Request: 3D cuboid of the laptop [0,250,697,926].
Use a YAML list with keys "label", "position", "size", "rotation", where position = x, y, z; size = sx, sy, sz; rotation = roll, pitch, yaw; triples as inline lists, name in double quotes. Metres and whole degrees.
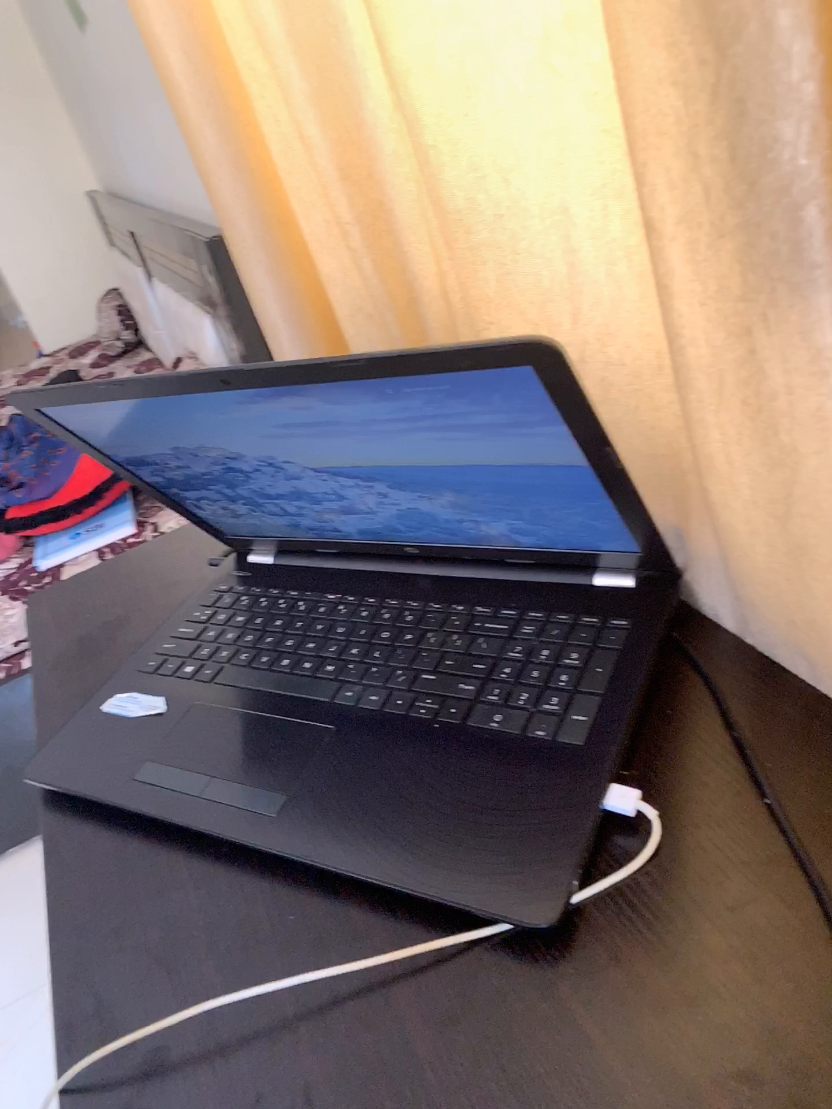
- label: "laptop"
  position: [-0.058, -0.003, 0.495]
  size: [0.363, 0.201, 0.239]
  rotation: [3, 38, 34]
